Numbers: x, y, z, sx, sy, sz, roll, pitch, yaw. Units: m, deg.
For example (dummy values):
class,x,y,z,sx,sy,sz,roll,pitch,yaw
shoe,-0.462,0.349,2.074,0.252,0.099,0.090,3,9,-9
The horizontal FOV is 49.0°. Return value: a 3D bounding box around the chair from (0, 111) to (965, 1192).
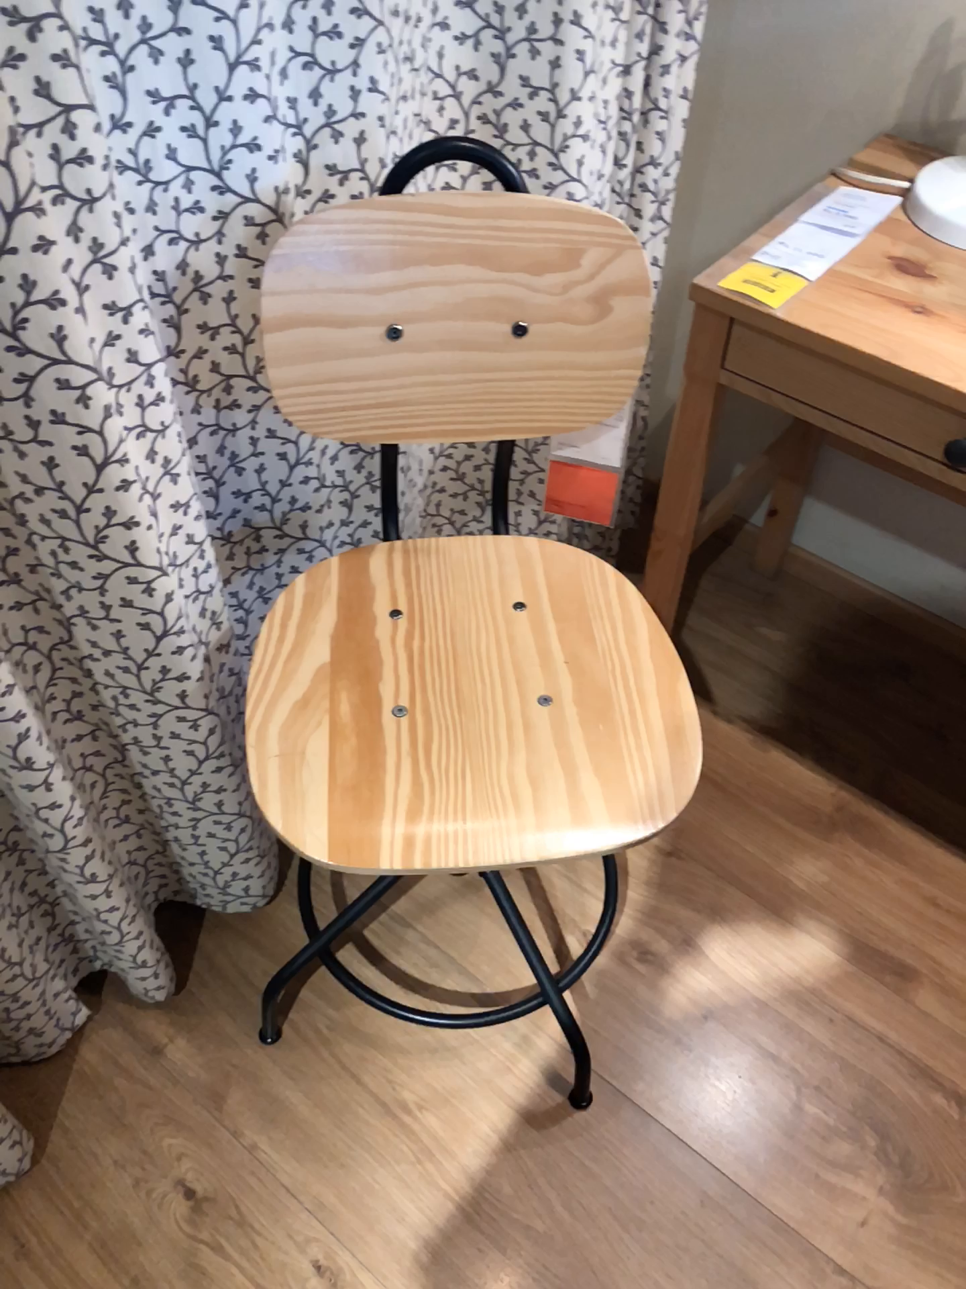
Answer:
class,x,y,z,sx,sy,sz,roll,pitch,yaw
chair,-0.016,0.057,0.976,0.520,0.815,0.553,-5,49,-5
